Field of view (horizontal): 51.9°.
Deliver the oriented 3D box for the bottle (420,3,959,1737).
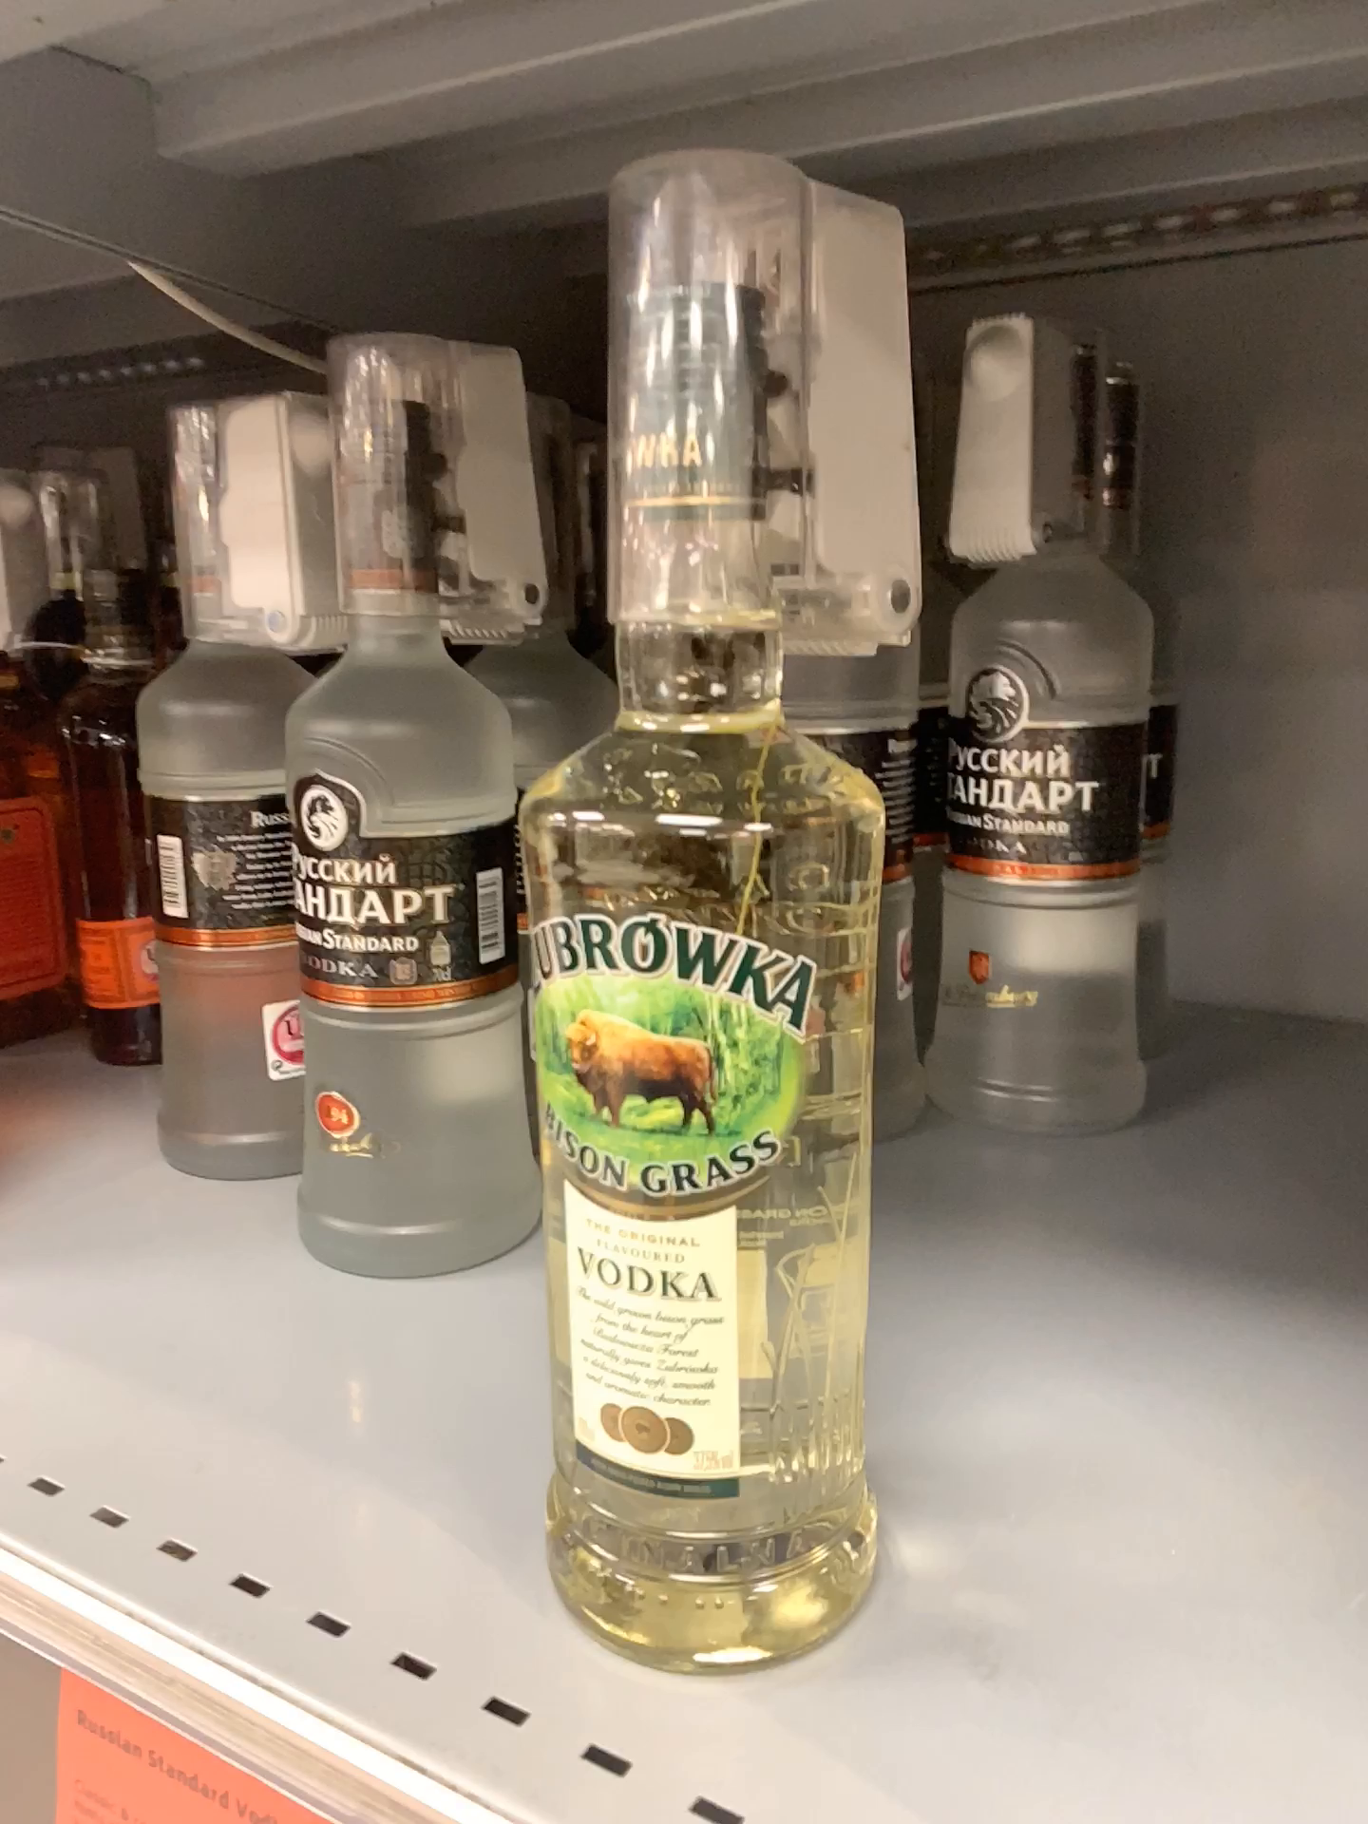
[{"bbox_3d":[0.005,0.001,0.290,0.076,0.303,0.069,5,13,29],"label":"bottle"}]
